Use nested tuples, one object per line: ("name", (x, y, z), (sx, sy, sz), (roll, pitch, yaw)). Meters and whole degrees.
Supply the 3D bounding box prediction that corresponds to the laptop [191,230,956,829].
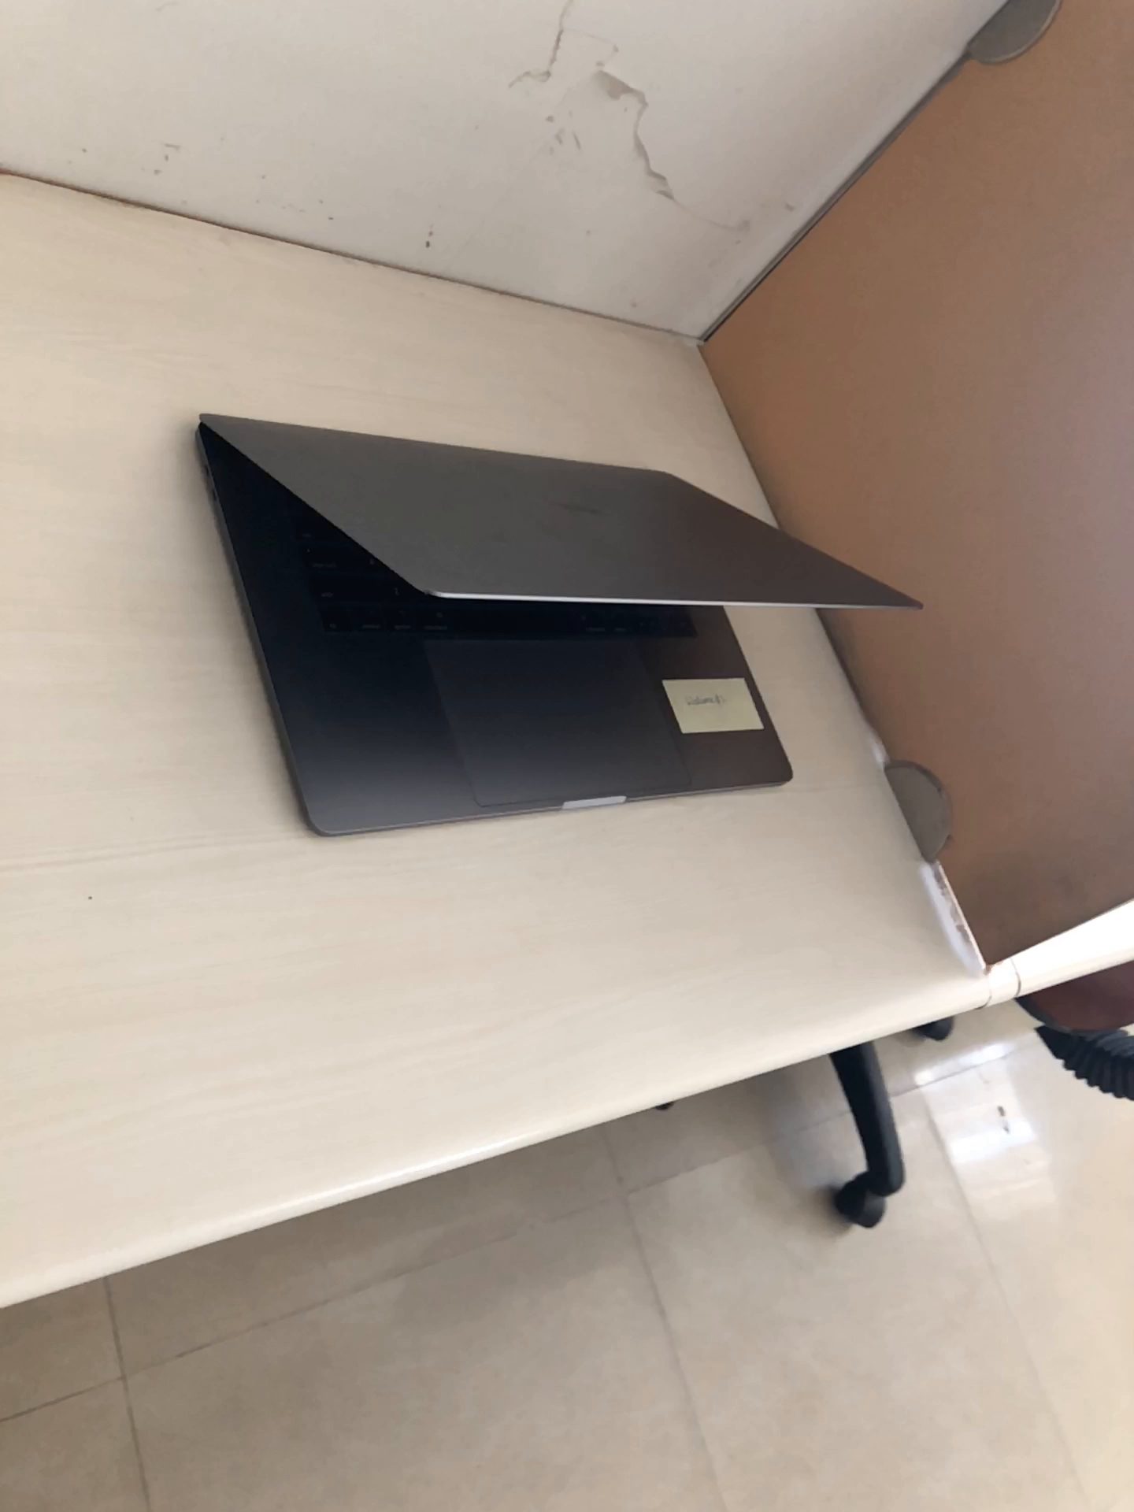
("laptop", (0.009, -0.109, 0.662), (0.331, 0.133, 0.233), (-3, 64, -40))
